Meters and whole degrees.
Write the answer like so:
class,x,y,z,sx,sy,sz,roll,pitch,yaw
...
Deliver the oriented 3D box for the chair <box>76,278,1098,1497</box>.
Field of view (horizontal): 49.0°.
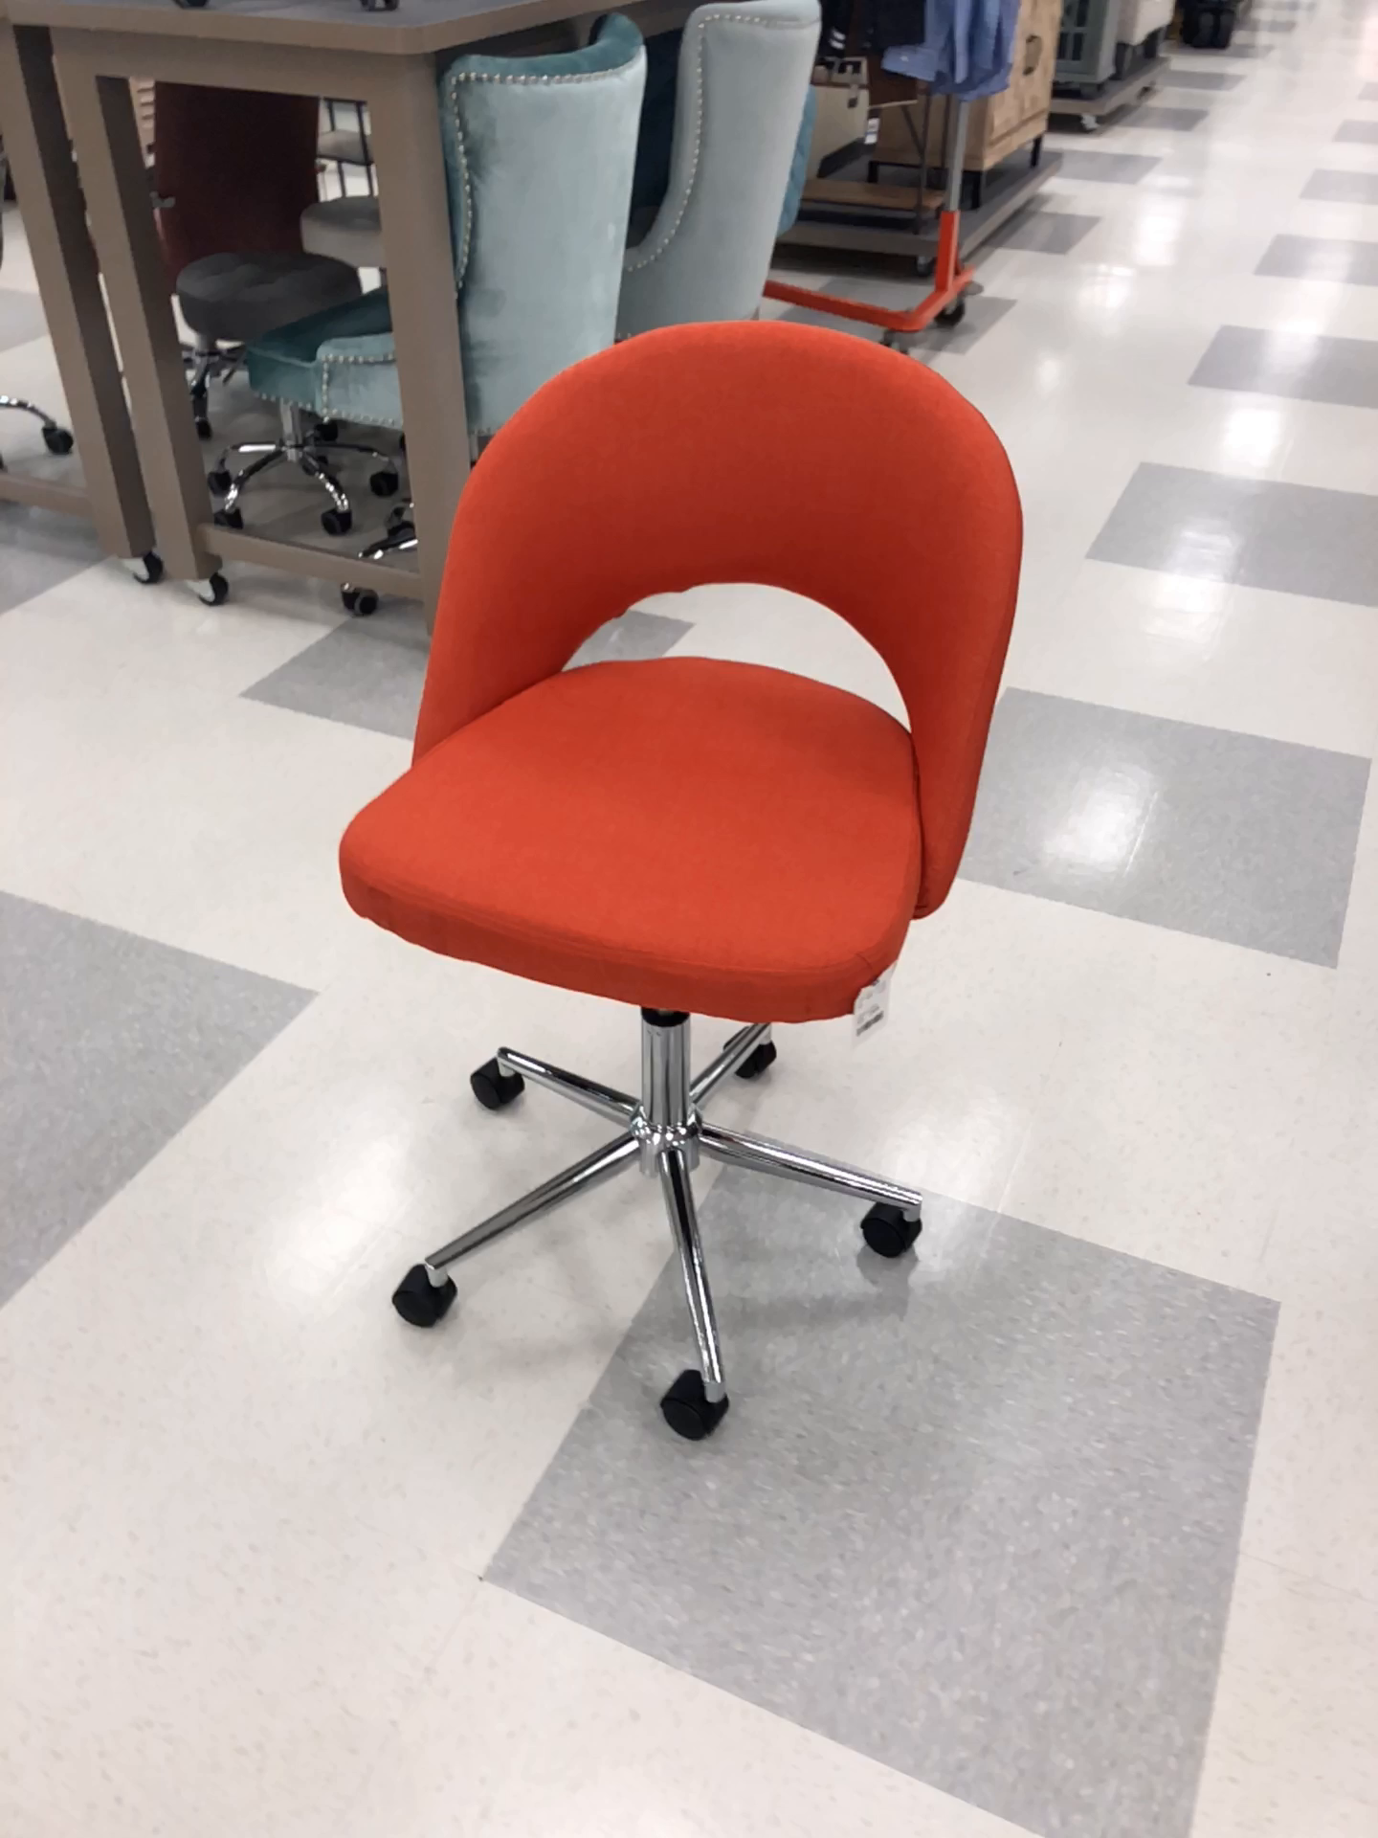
class,x,y,z,sx,sy,sz,roll,pitch,yaw
chair,-0.034,-0.058,1.439,0.599,0.858,0.611,13,38,18
